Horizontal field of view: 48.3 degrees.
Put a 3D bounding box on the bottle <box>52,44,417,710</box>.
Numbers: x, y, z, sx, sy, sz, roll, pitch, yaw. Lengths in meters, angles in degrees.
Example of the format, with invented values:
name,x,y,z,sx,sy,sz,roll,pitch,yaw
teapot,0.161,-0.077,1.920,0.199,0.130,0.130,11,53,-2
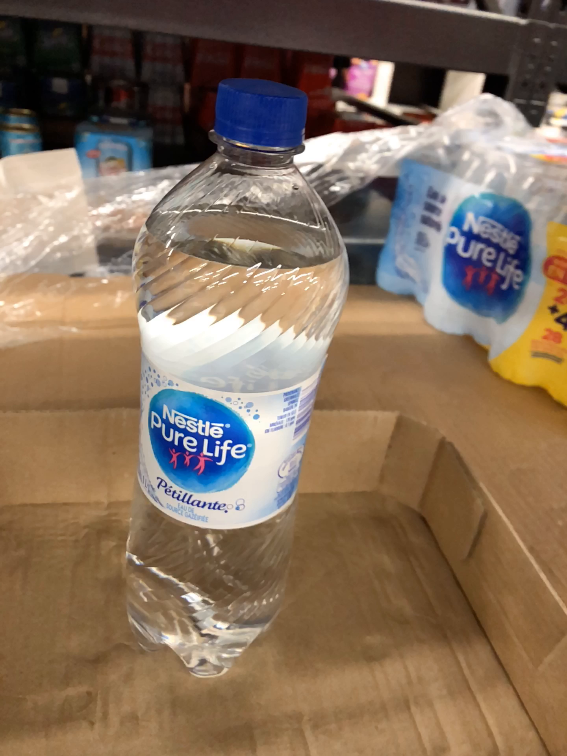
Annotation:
name,x,y,z,sx,sy,sz,roll,pitch,yaw
bottle,-0.028,0.007,0.298,0.100,0.278,0.101,7,29,-4
